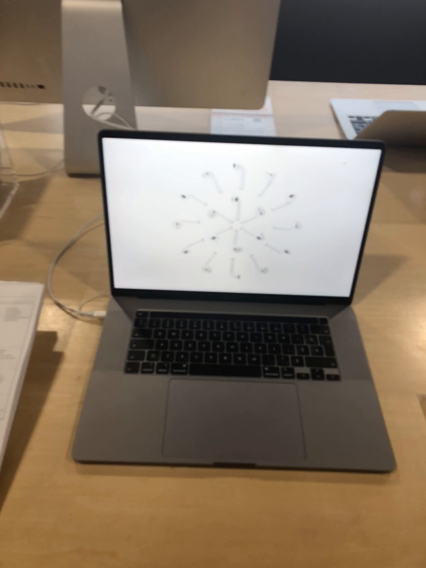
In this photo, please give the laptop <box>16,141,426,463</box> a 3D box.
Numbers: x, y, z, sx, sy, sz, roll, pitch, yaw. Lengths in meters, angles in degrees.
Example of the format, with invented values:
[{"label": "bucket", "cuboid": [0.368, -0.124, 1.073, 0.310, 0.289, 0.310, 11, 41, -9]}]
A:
[{"label": "laptop", "cuboid": [0.029, 0.012, 0.527, 0.343, 0.227, 0.293, 1, 44, 0]}]
